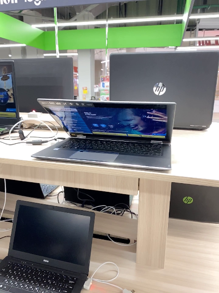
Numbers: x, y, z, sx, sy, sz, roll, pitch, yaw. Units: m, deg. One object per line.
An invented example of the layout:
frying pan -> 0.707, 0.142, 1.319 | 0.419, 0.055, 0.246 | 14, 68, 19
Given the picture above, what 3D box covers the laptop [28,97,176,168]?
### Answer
laptop -> -0.003, -0.056, 0.579 | 0.320, 0.128, 0.217 | 4, 14, 14
